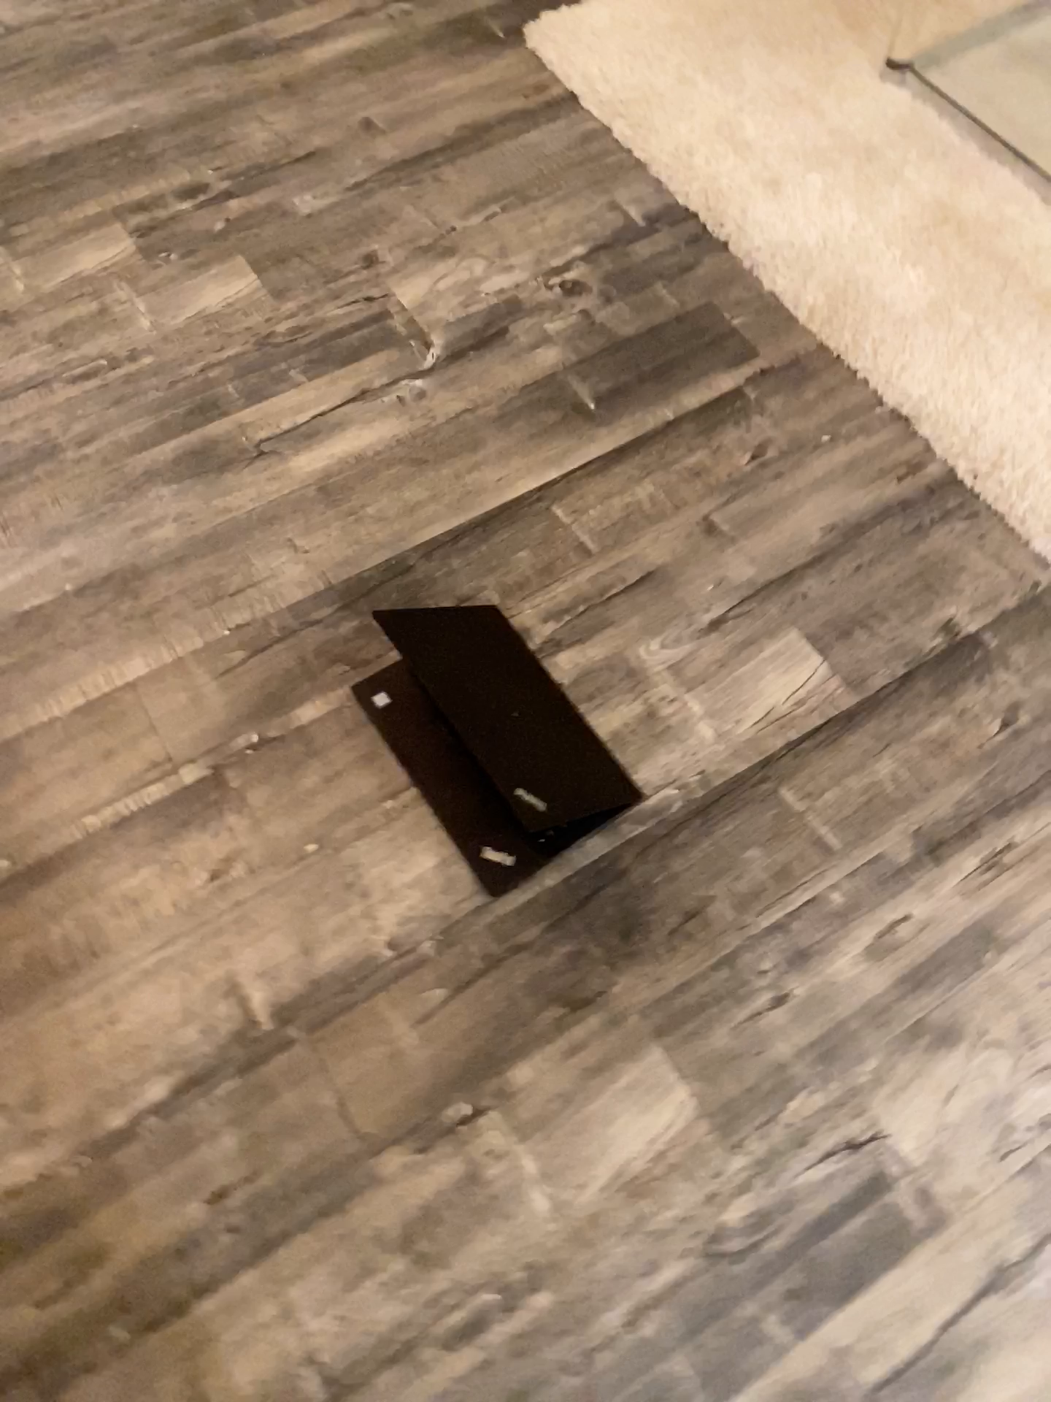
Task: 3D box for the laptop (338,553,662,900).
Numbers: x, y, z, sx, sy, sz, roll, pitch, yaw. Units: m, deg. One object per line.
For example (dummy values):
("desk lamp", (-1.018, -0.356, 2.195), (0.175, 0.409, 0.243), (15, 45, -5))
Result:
("laptop", (-0.034, 0.023, 1.223), (0.219, 0.124, 0.315), (-30, 67, -16))
